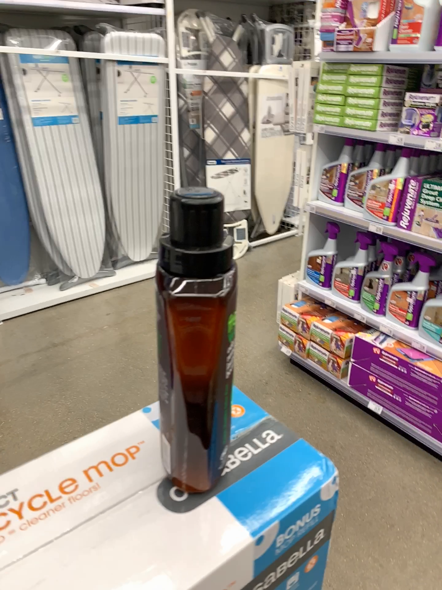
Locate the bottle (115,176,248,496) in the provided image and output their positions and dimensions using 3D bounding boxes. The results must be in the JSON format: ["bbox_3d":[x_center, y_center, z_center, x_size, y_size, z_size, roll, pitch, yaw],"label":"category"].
[{"bbox_3d":[-0.020,0.030,0.329,0.070,0.209,0.101,1,27,1],"label":"bottle"}]
